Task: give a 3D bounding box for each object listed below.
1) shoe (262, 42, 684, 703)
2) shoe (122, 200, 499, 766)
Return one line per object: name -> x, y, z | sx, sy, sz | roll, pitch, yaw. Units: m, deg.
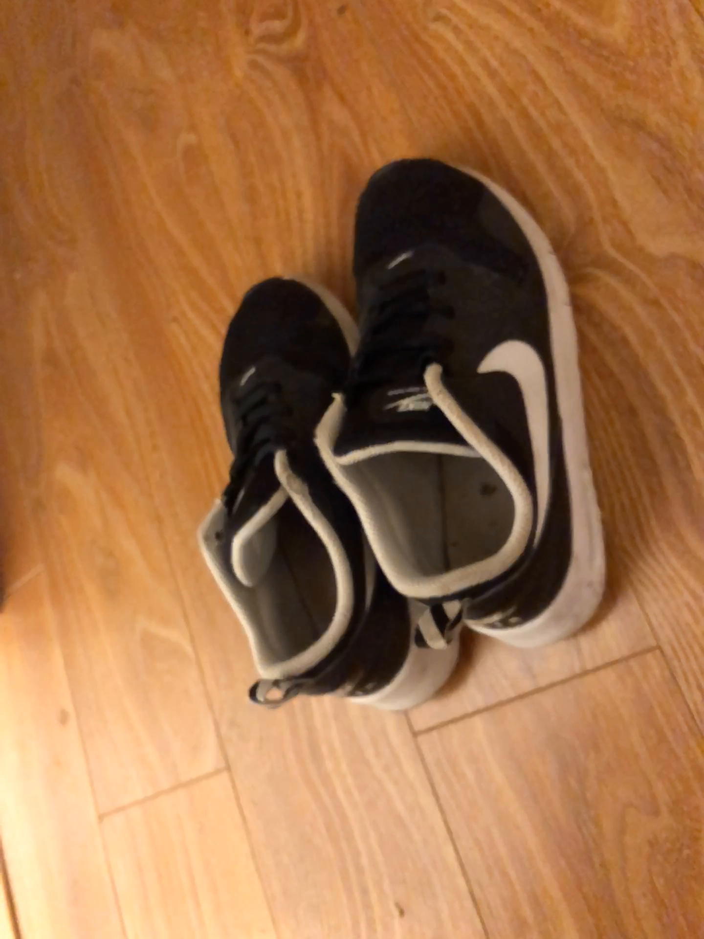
shoe -> 0.046, -0.035, 0.326 | 0.090, 0.080, 0.230 | -22, 75, 32
shoe -> -0.025, 0.005, 0.377 | 0.090, 0.080, 0.230 | -27, 73, 31
